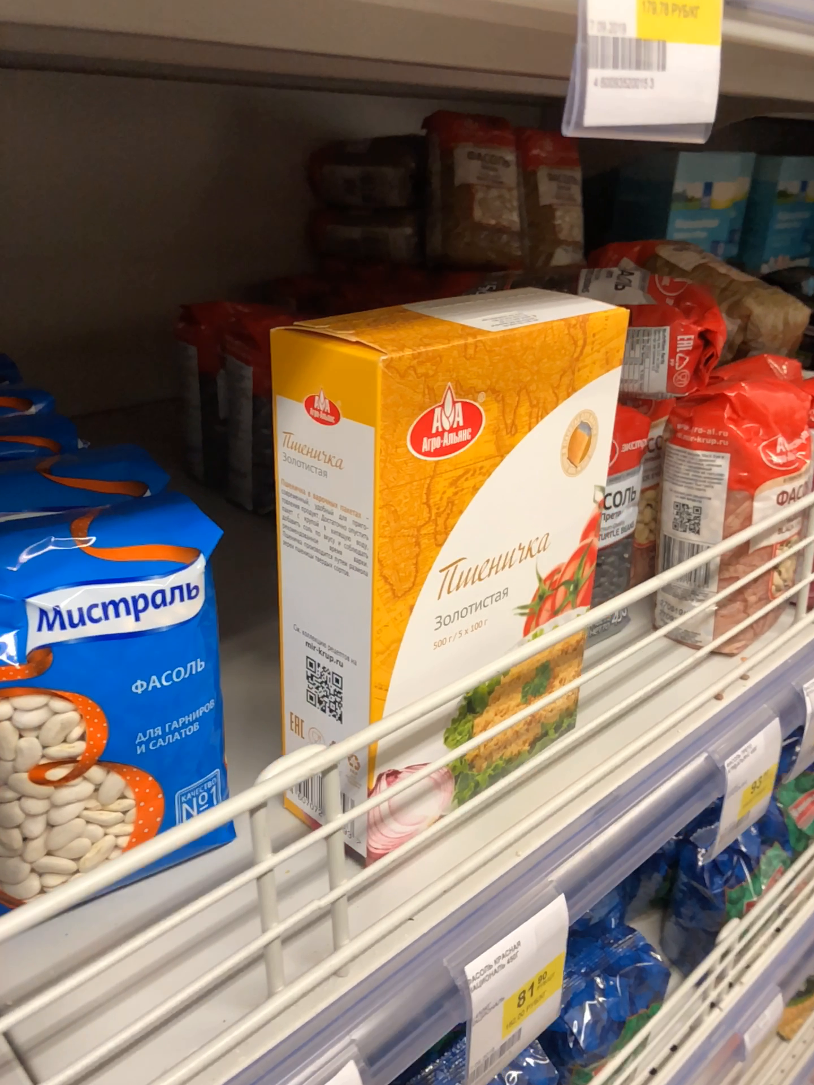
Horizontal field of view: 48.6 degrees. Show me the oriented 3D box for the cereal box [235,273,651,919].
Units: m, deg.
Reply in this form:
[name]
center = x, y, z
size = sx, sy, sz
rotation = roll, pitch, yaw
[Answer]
[cereal box]
center = 0.016, 0.011, 0.339
size = 0.060, 0.199, 0.140
rotation = 23, 32, 38
